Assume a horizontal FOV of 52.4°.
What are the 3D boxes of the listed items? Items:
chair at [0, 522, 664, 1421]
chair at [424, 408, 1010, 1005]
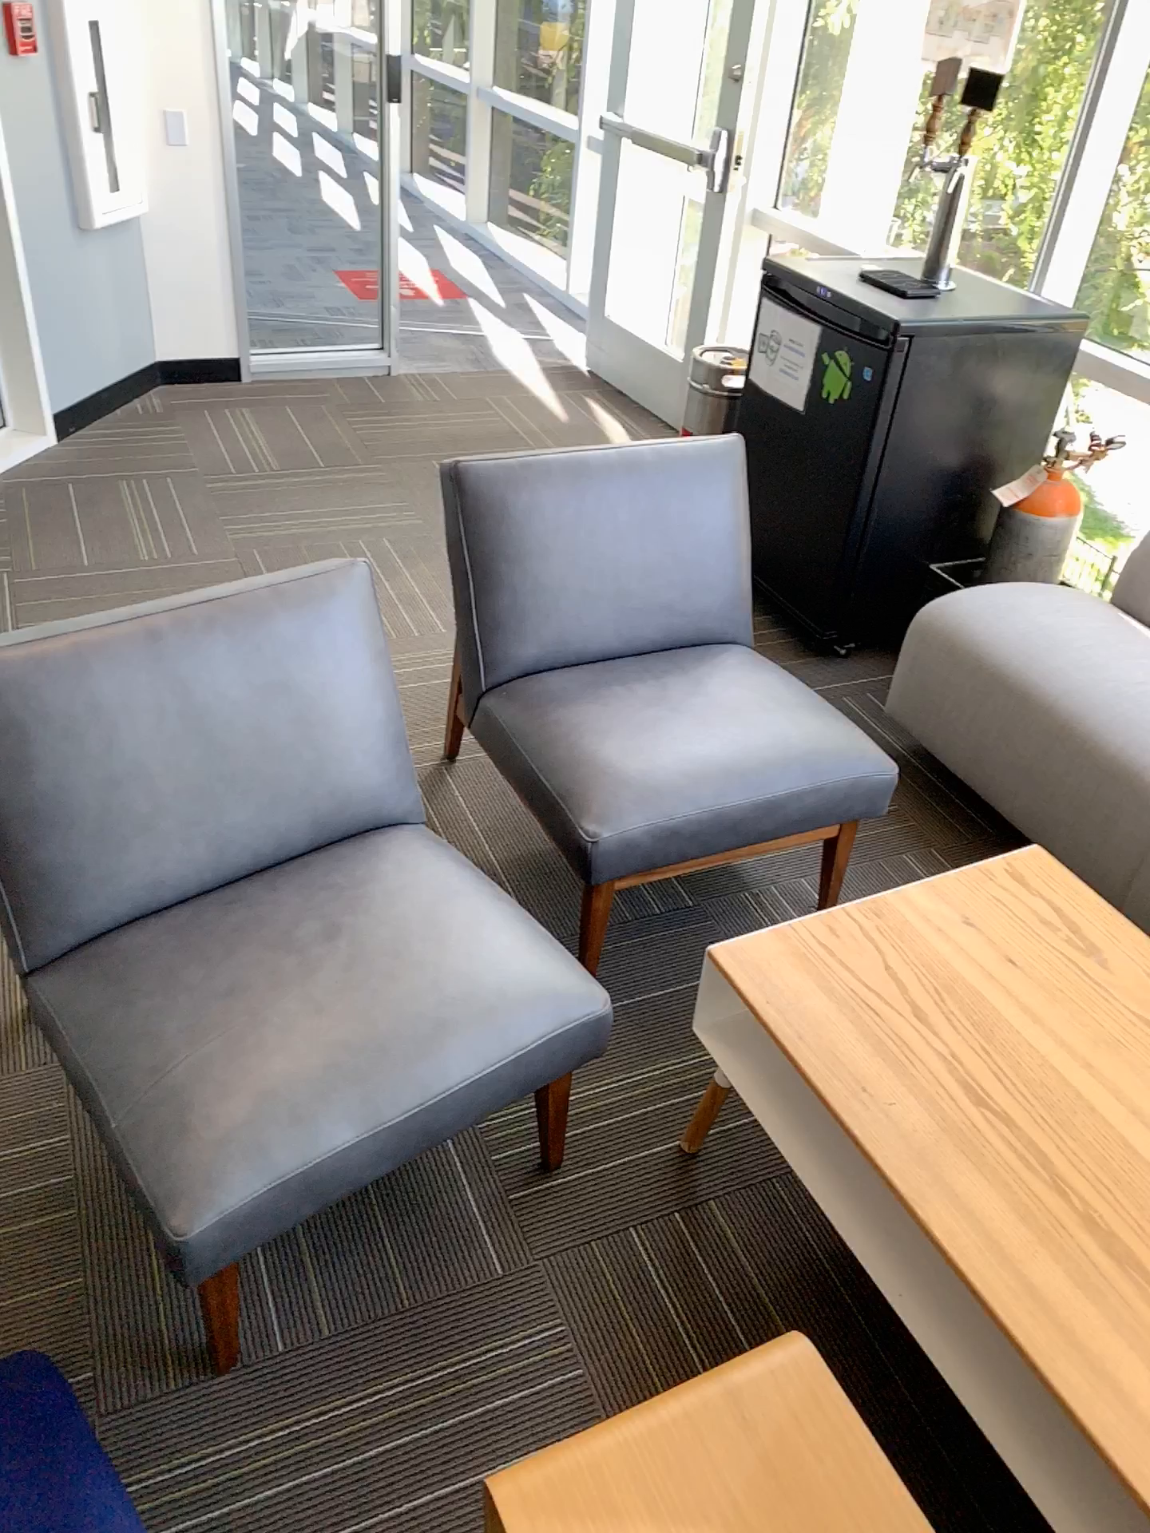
[{"bbox_3d":[-0.450,0.218,1.736,0.681,0.766,0.854,-21,43,-32],"label":"chair"},{"bbox_3d":[0.198,-0.183,2.386,0.740,0.766,0.855,-13,39,-24],"label":"chair"}]
